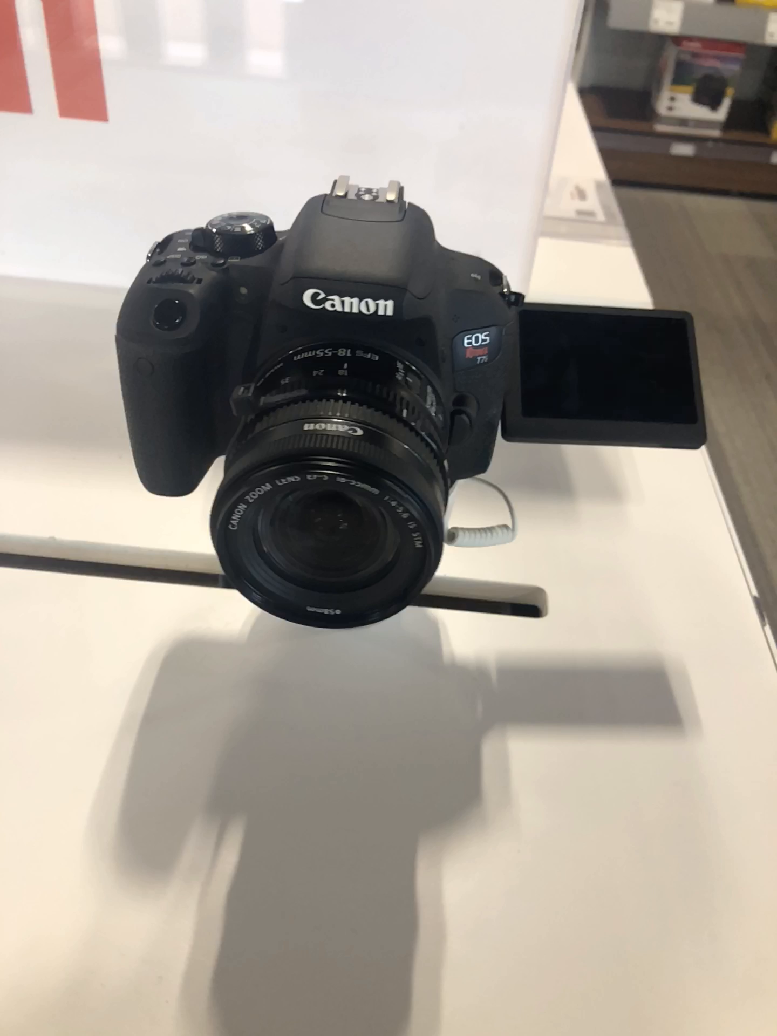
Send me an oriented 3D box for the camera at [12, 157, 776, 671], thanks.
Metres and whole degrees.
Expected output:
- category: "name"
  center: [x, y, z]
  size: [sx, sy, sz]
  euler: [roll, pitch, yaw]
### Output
- category: "camera"
  center: [0.018, -0.035, 0.270]
  size: [0.210, 0.099, 0.111]
  euler: [4, 40, -1]
